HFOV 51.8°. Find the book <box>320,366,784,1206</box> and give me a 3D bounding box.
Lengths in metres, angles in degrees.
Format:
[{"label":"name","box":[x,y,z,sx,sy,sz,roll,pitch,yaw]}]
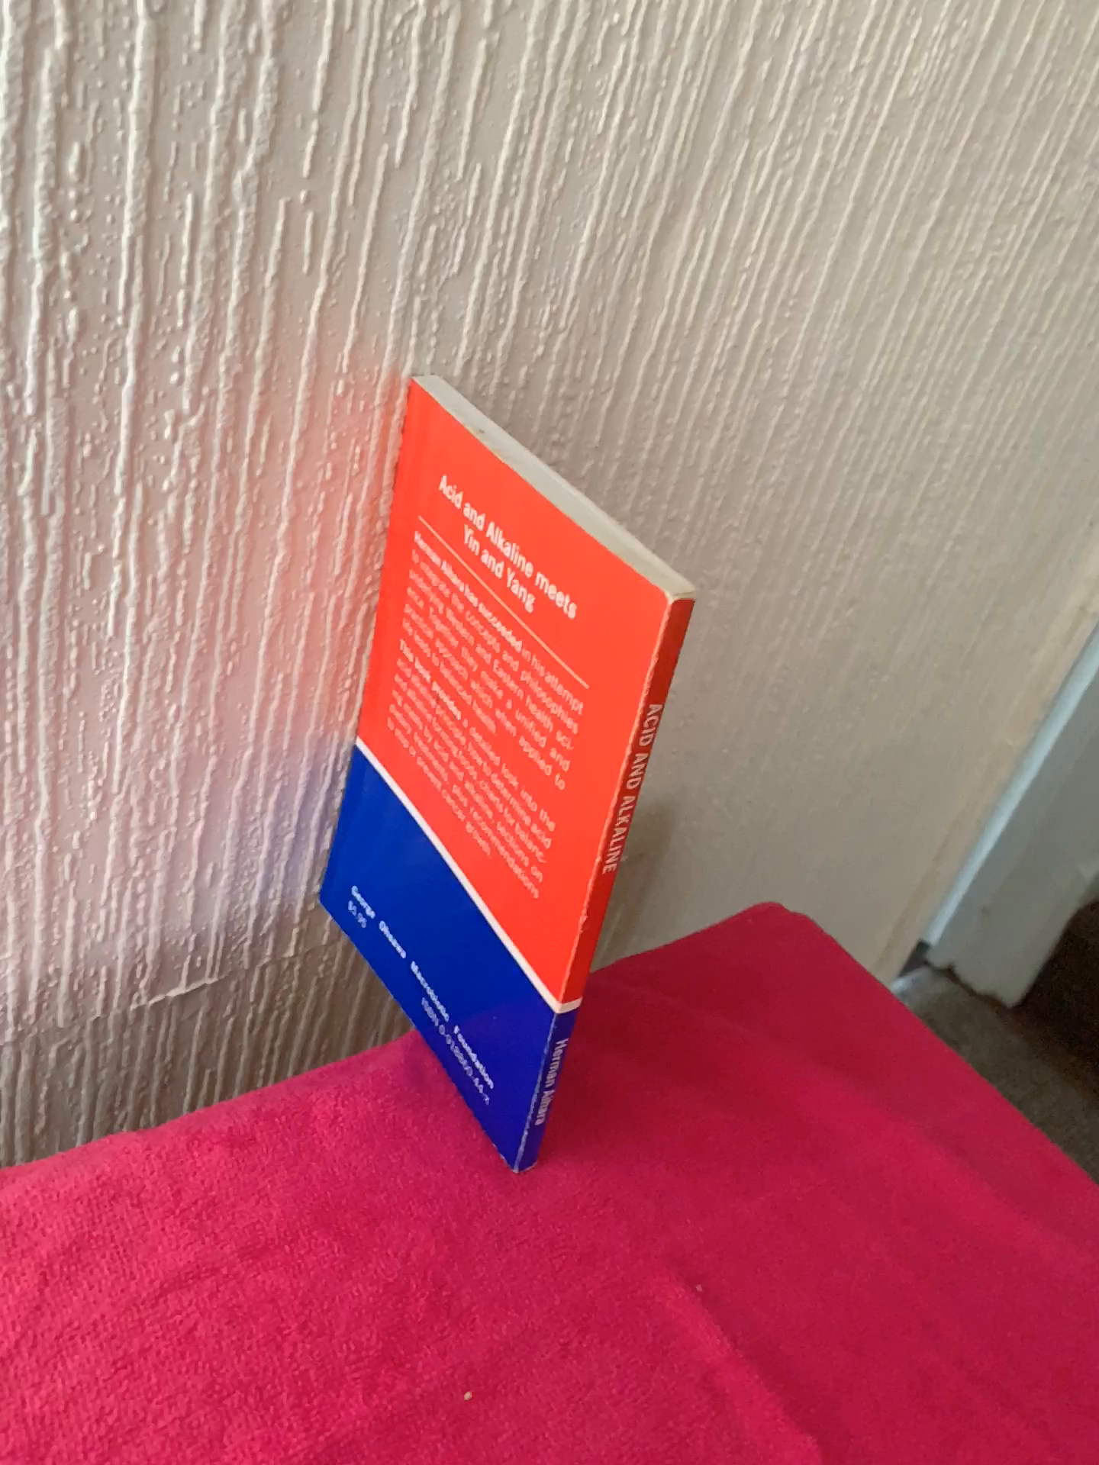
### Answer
[{"label":"book","box":[-0.019,0.018,0.346,0.020,0.208,0.151,-12,41,-34]}]
